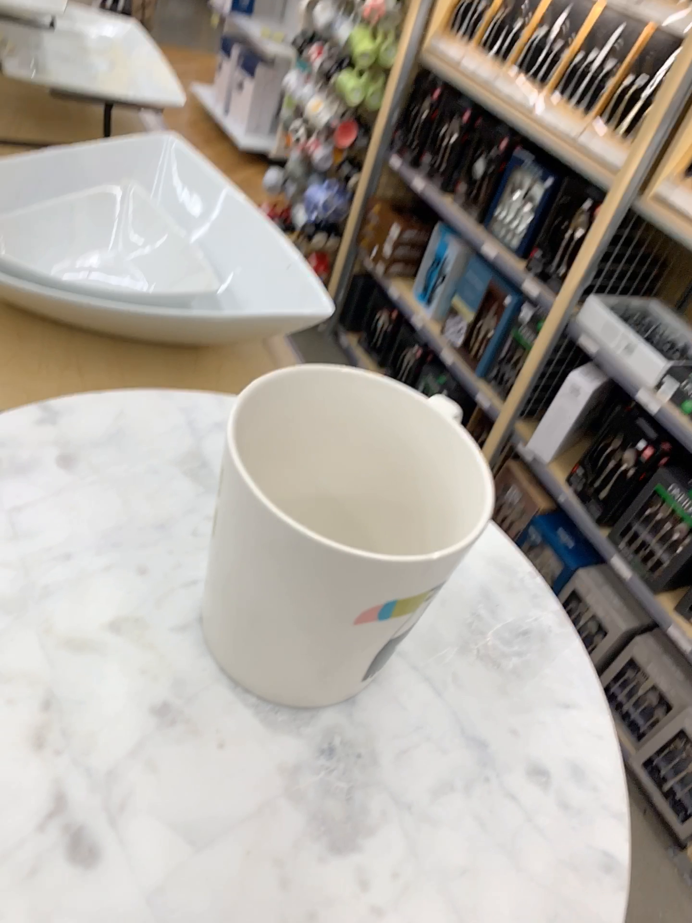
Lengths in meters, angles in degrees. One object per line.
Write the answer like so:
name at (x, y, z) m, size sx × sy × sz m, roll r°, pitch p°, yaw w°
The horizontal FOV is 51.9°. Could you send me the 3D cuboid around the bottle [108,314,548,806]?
bottle at (-0.004, 0.030, 0.297) m, size 0.104 × 0.107 × 0.144 m, roll 30°, pitch 39°, yaw 12°
